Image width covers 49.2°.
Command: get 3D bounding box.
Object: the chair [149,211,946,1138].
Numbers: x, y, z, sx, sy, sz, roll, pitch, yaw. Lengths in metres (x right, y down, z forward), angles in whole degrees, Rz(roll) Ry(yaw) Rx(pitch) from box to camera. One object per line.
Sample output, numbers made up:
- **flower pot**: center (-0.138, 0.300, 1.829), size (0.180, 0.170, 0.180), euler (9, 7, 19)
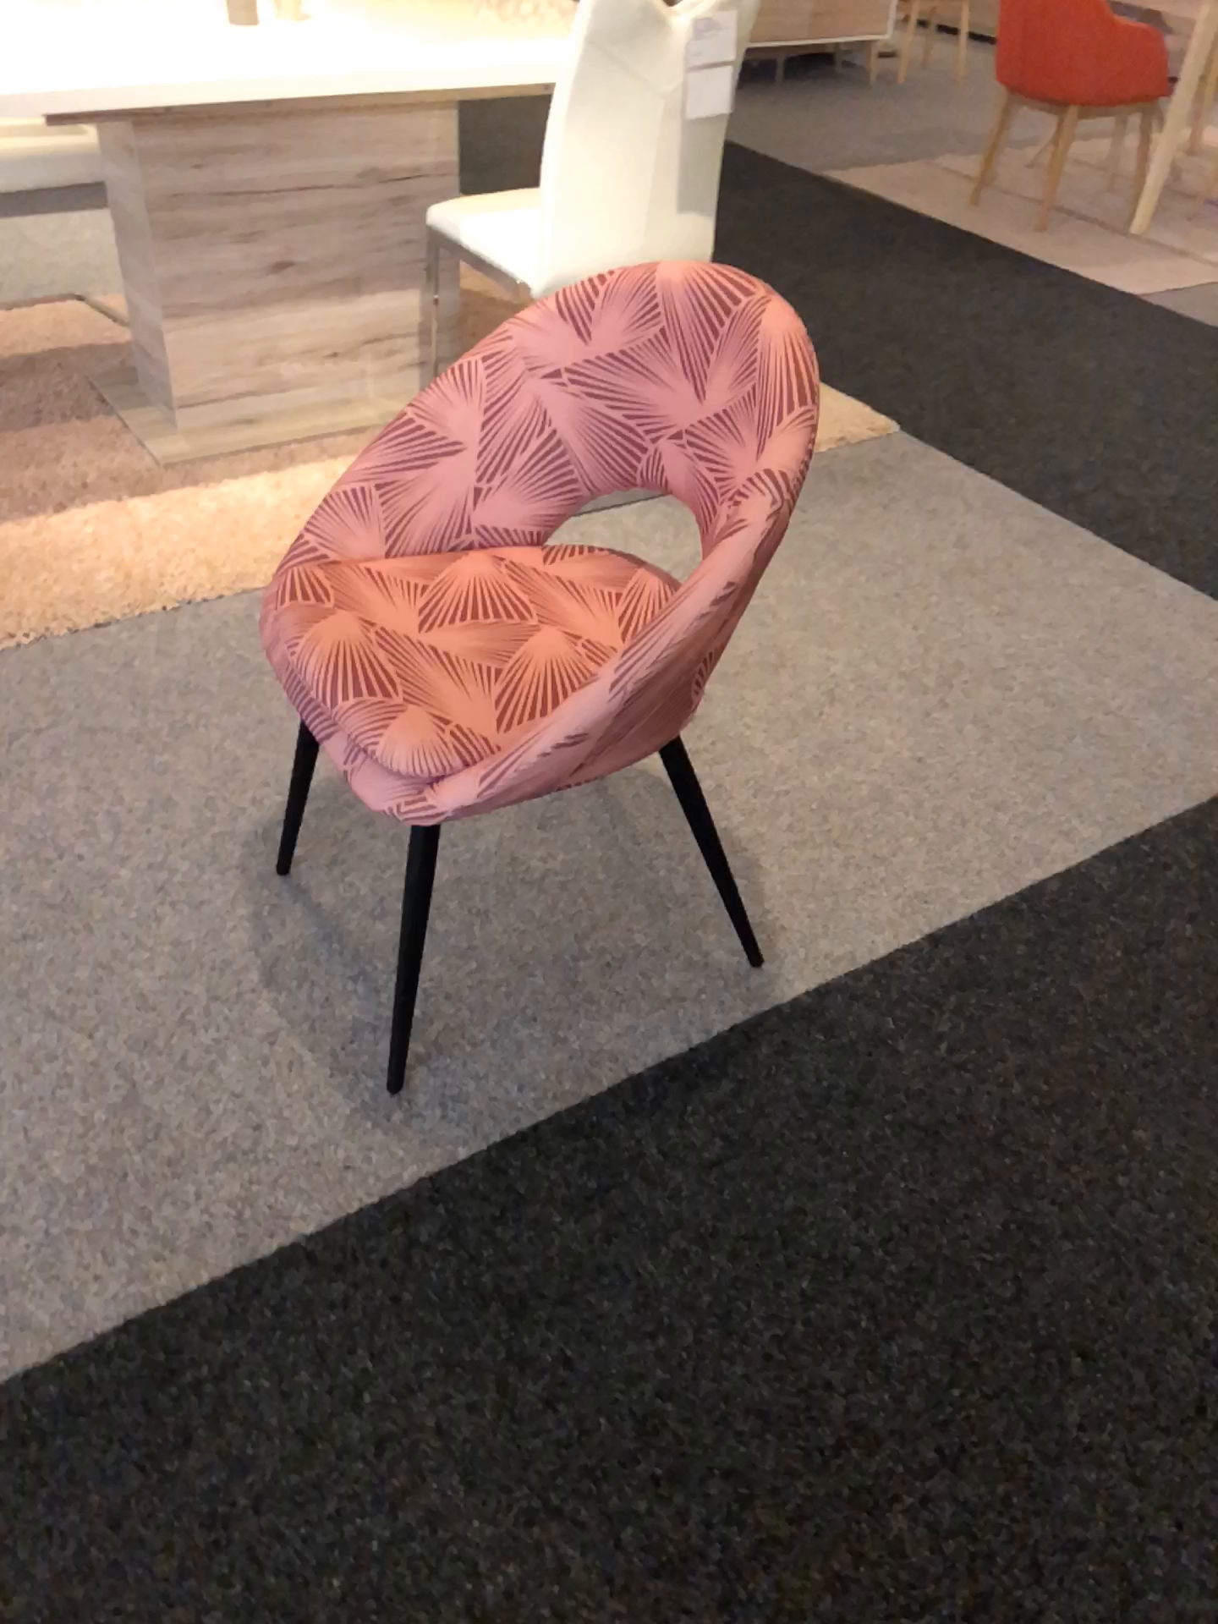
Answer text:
- **chair**: center (-0.099, -0.179, 1.534), size (0.602, 0.795, 0.532), euler (-16, 42, -24)
